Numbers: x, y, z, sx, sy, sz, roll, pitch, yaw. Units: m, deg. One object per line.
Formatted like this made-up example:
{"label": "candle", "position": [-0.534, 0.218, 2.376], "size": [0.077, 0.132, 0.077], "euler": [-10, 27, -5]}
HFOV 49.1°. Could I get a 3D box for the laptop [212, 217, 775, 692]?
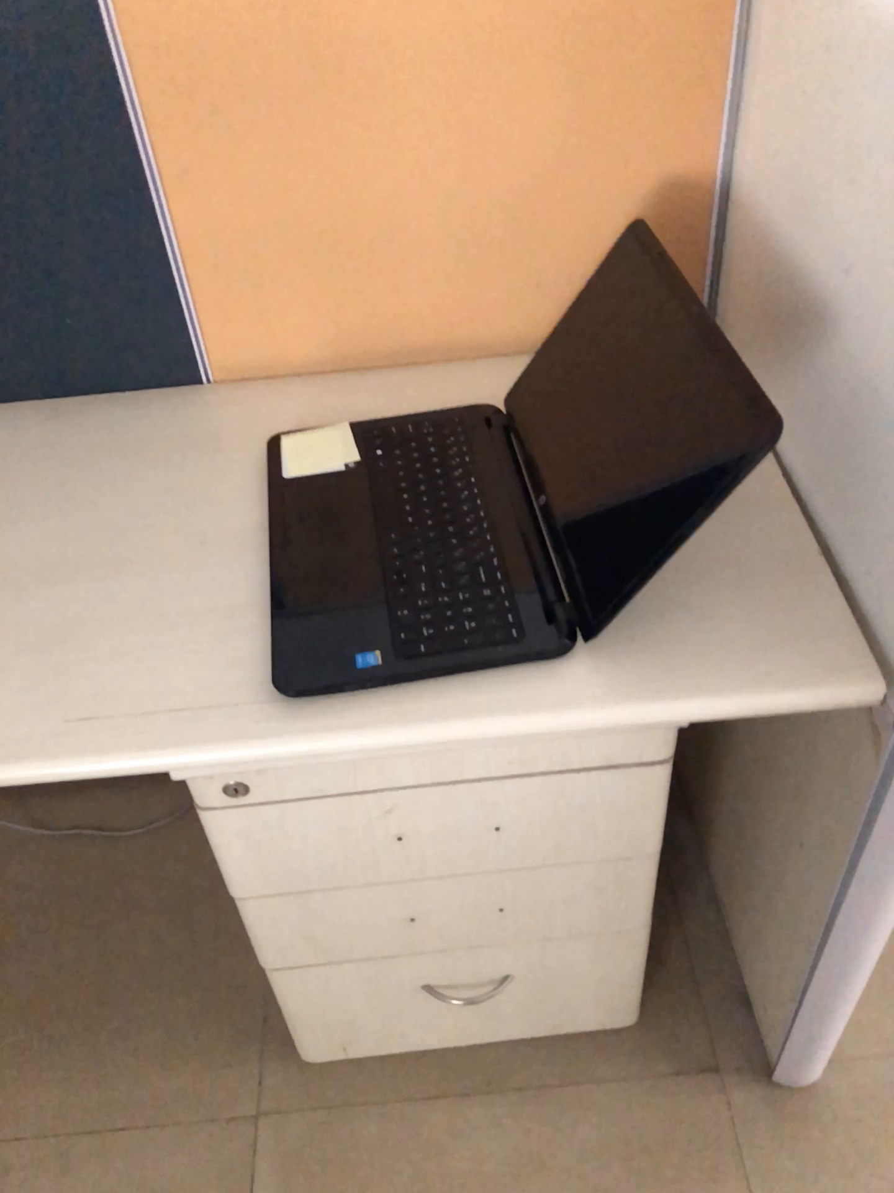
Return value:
{"label": "laptop", "position": [0.019, -0.155, 0.925], "size": [0.416, 0.204, 0.393], "euler": [-8, 43, -3]}
